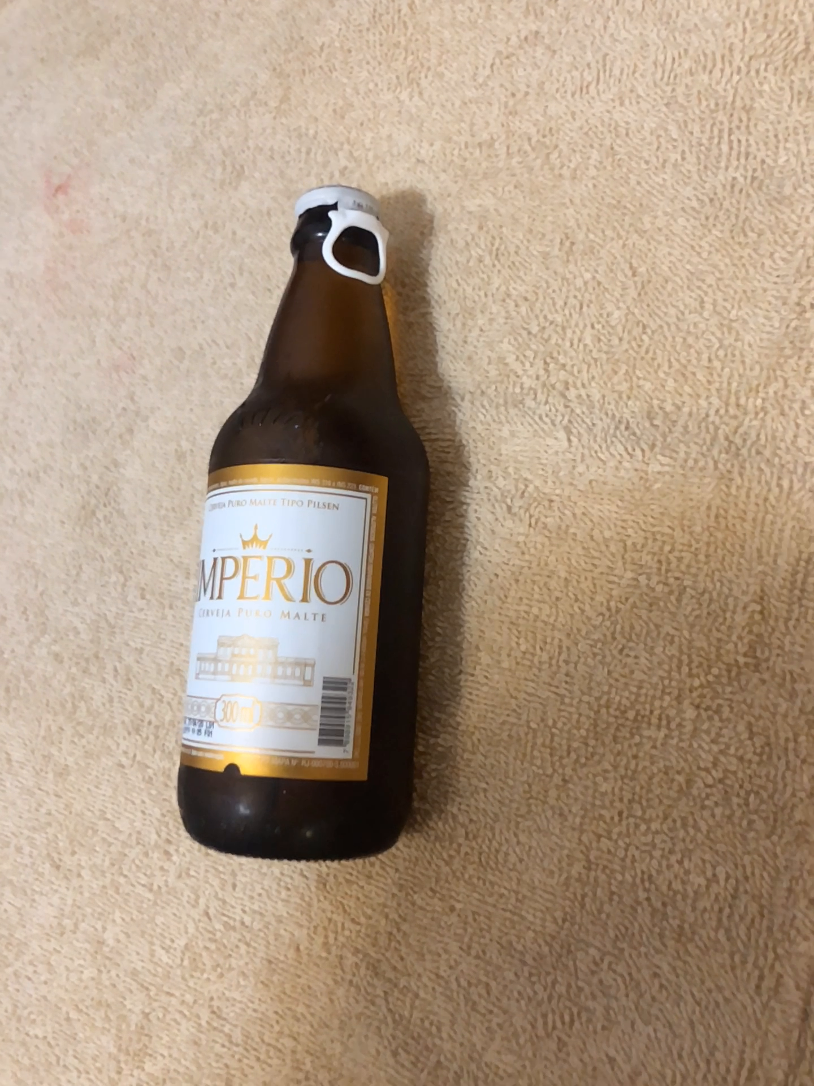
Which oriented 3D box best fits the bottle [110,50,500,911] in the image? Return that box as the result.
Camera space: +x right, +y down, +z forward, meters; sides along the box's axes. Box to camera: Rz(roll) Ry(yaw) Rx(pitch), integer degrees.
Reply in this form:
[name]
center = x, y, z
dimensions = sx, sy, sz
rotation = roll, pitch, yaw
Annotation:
[bottle]
center = -0.021, -0.015, 0.236
dimensions = 0.060, 0.060, 0.190
rotation = -3, 78, 33
